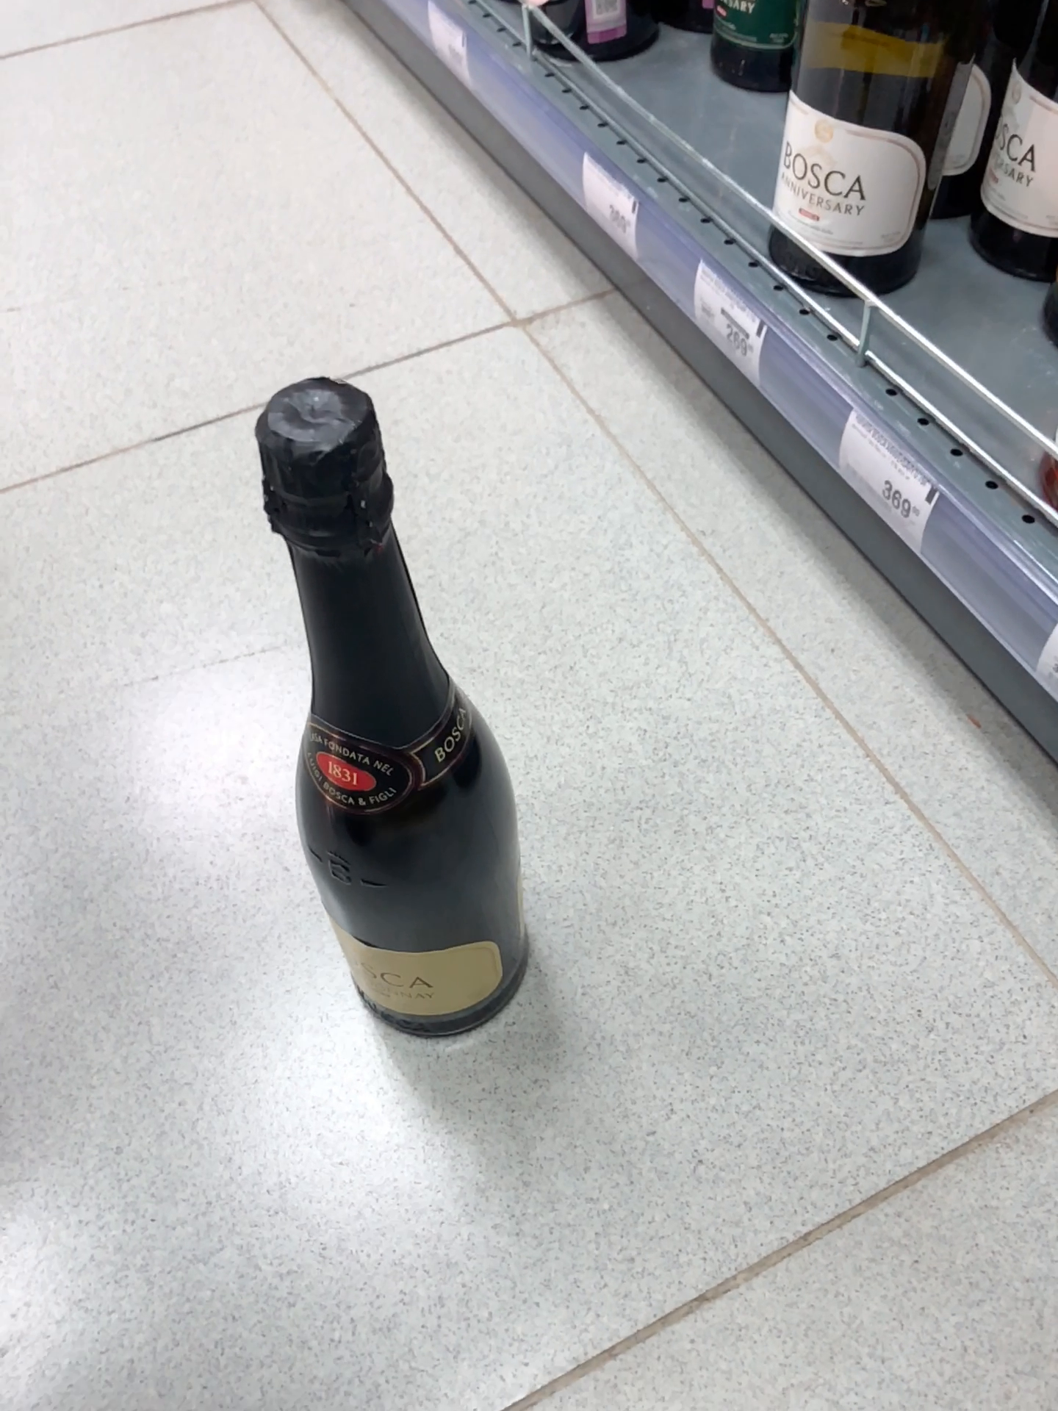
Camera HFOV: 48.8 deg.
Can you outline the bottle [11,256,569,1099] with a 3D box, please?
[{"bbox_3d":[-0.055,0.020,0.411,0.100,0.311,0.090,32,60,24],"label":"bottle"}]
